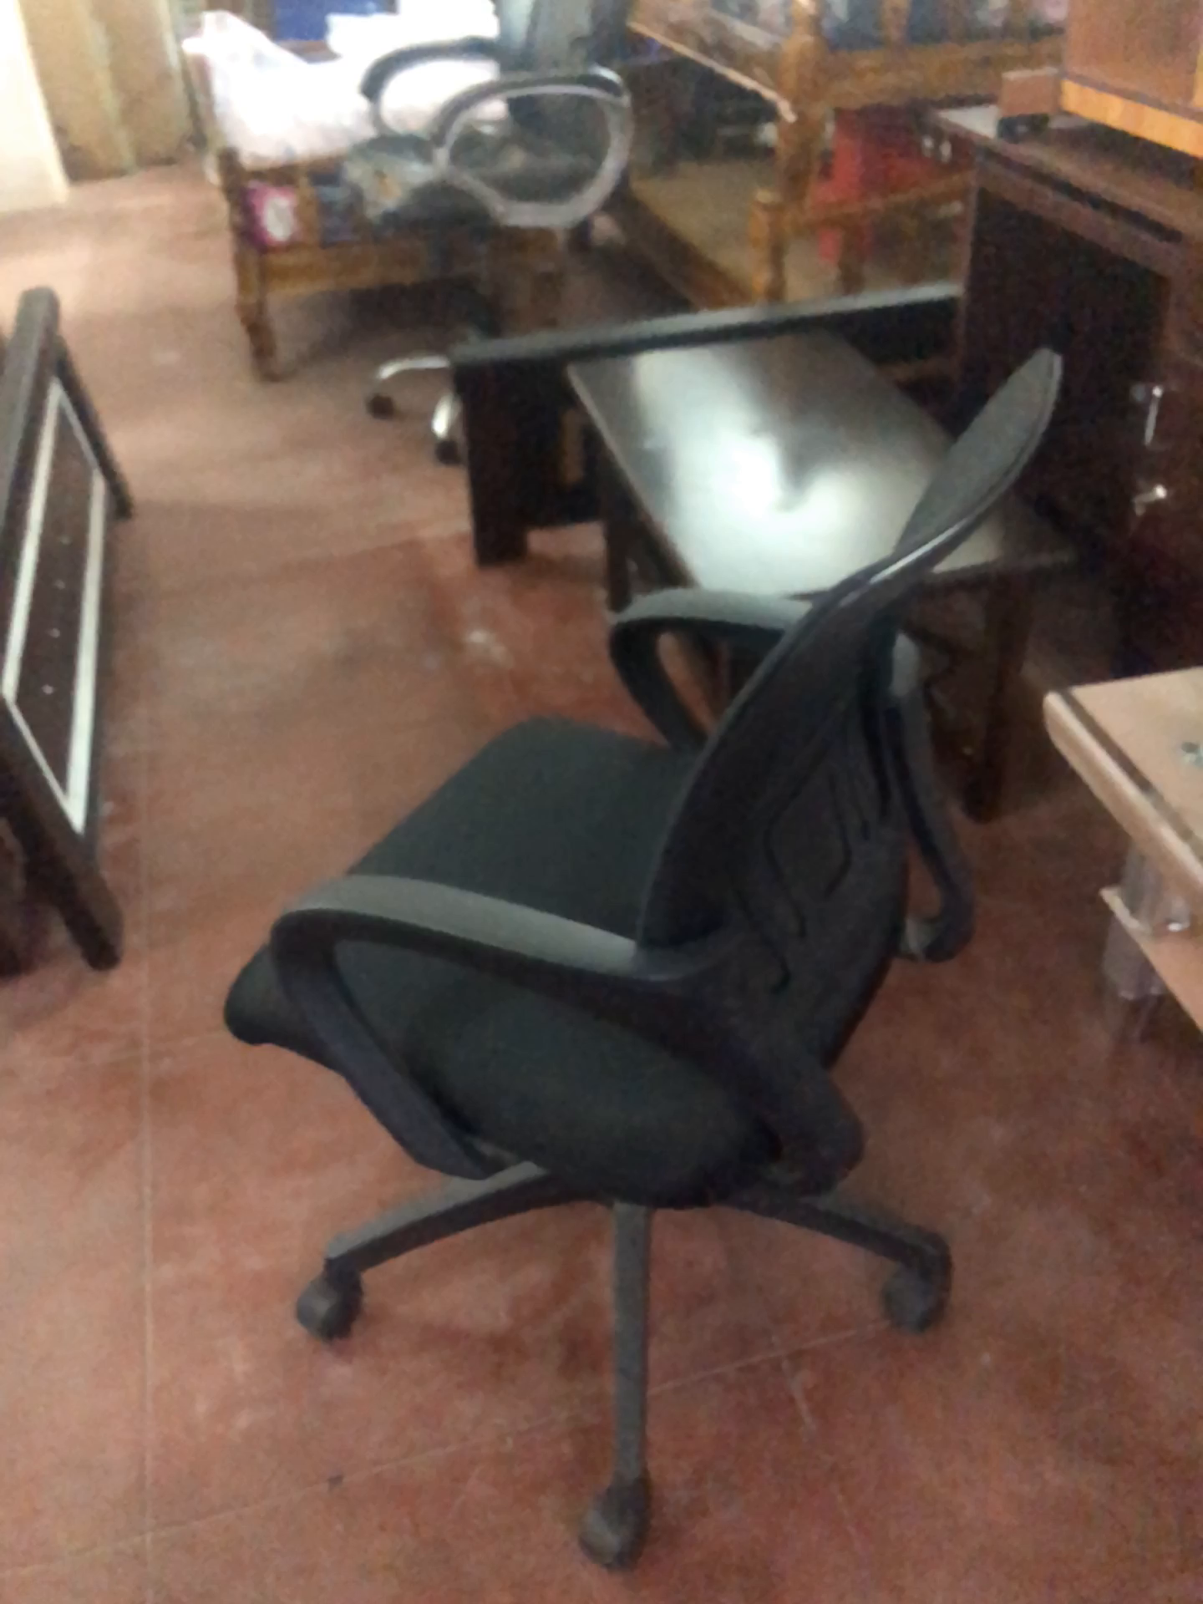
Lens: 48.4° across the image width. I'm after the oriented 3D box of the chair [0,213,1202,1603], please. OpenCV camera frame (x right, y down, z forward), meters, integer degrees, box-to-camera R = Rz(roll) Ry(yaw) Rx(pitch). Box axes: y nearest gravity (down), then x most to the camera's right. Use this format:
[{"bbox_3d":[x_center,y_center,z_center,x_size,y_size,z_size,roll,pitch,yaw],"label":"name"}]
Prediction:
[{"bbox_3d":[0.053,0.083,1.185,0.630,0.915,0.754,17,41,24],"label":"chair"}]
